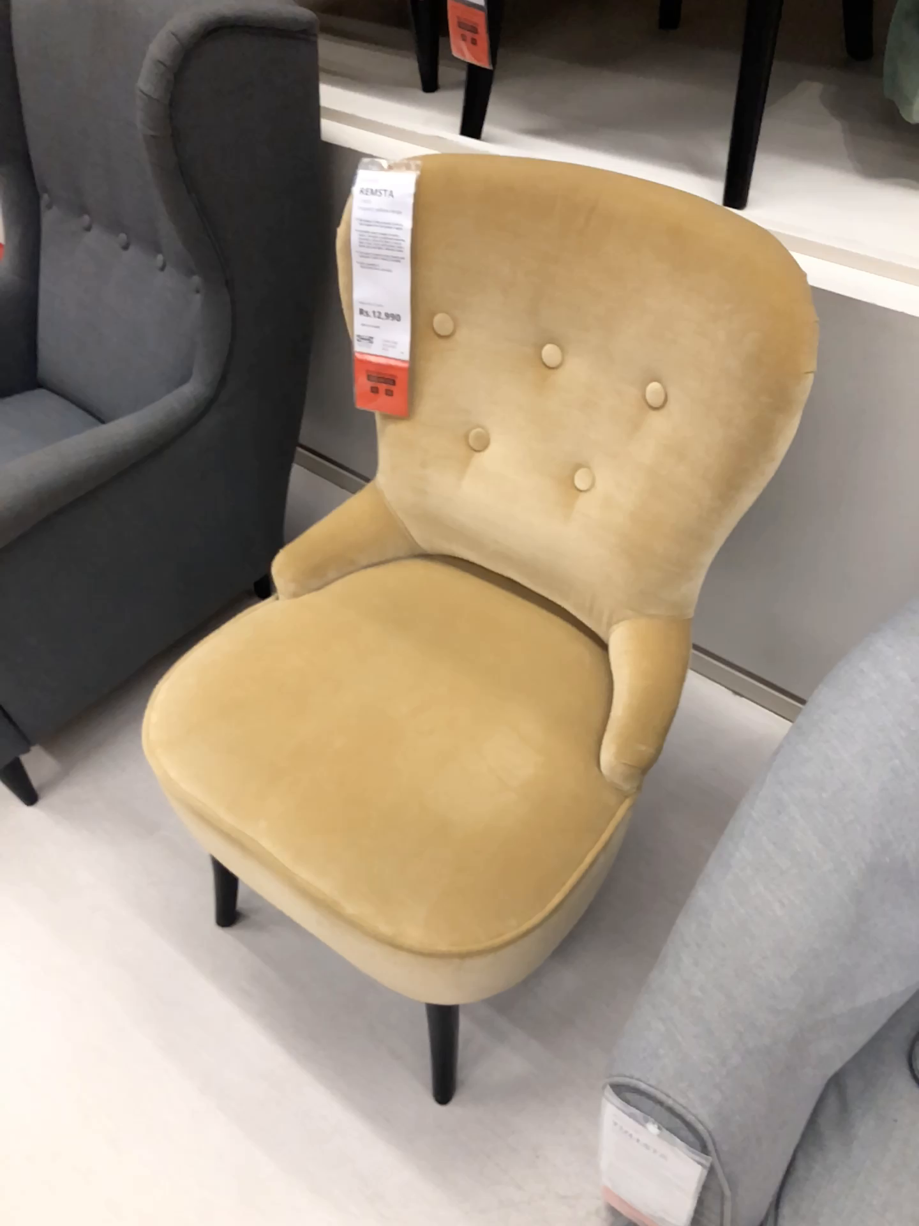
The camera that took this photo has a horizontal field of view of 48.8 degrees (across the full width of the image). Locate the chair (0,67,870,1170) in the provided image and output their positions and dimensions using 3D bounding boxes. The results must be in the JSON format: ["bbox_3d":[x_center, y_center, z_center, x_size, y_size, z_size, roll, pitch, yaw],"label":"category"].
[{"bbox_3d":[-0.053,0.021,1.117,0.582,0.865,0.642,28,57,28],"label":"chair"}]
